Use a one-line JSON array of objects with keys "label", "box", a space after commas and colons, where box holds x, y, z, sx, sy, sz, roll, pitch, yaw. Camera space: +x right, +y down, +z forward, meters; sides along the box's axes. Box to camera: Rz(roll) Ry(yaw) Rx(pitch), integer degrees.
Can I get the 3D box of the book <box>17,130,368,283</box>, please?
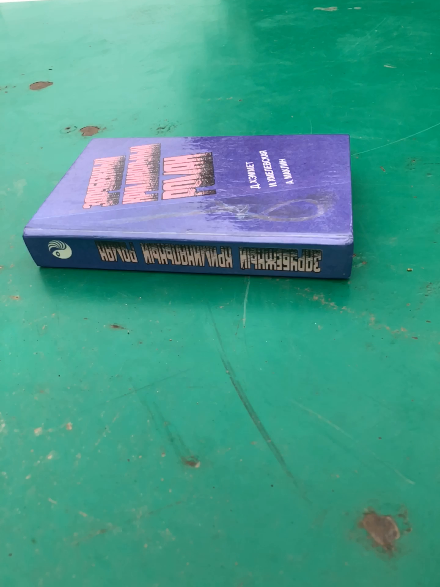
[{"label": "book", "box": [-0.010, -0.069, 0.340, 0.208, 0.030, 0.137, 3, 43, 10]}]
